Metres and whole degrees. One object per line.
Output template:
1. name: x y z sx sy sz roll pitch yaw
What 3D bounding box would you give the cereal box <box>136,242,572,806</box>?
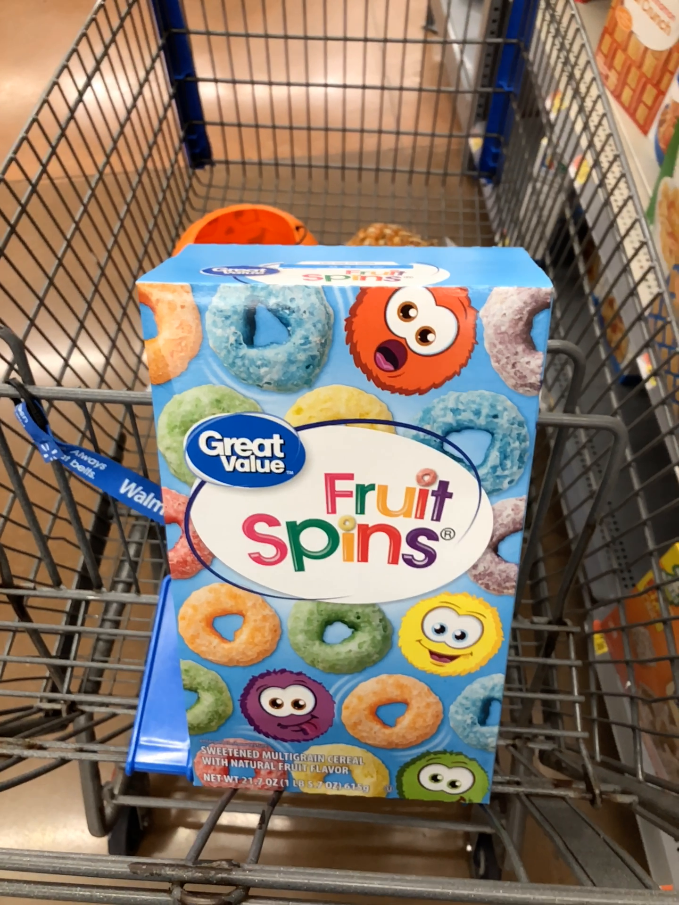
1. cereal box: 0.006 0.055 0.461 0.200 0.340 0.090 2 26 3
